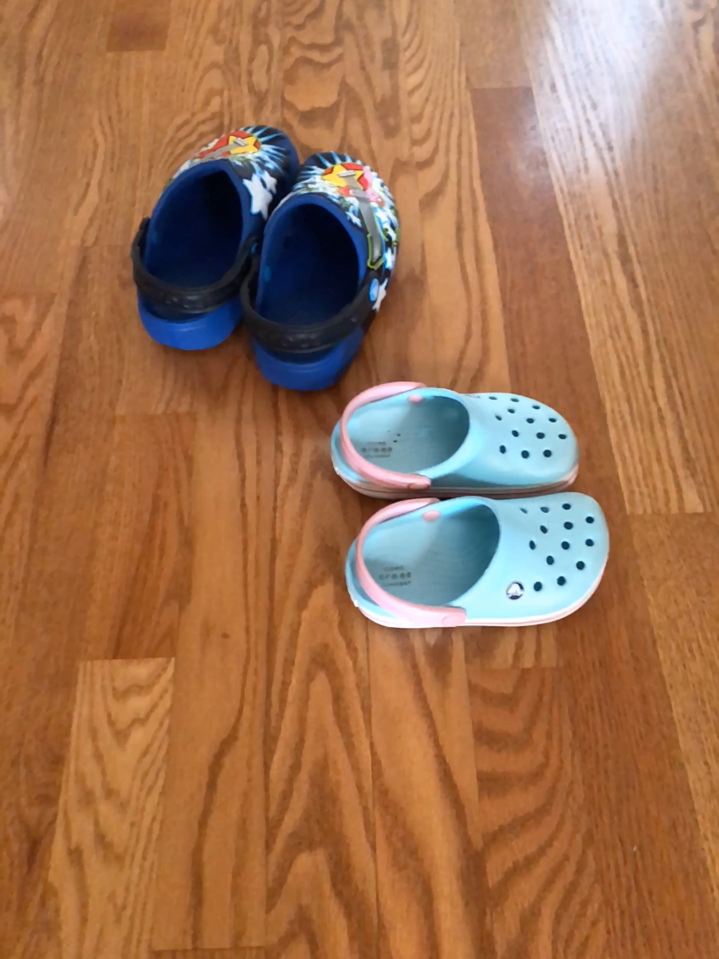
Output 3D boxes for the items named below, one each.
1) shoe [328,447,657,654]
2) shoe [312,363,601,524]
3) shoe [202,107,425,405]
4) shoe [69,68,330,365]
[{"bbox_3d":[0.072,0.041,0.469,0.170,0.050,0.090,-7,59,-2],"label":"shoe"},{"bbox_3d":[0.059,-0.024,0.510,0.170,0.050,0.090,1,59,2],"label":"shoe"},{"bbox_3d":[-0.025,-0.172,0.586,0.110,0.070,0.221,9,60,7],"label":"shoe"},{"bbox_3d":[-0.110,-0.208,0.604,0.110,0.070,0.231,12,60,9],"label":"shoe"}]
